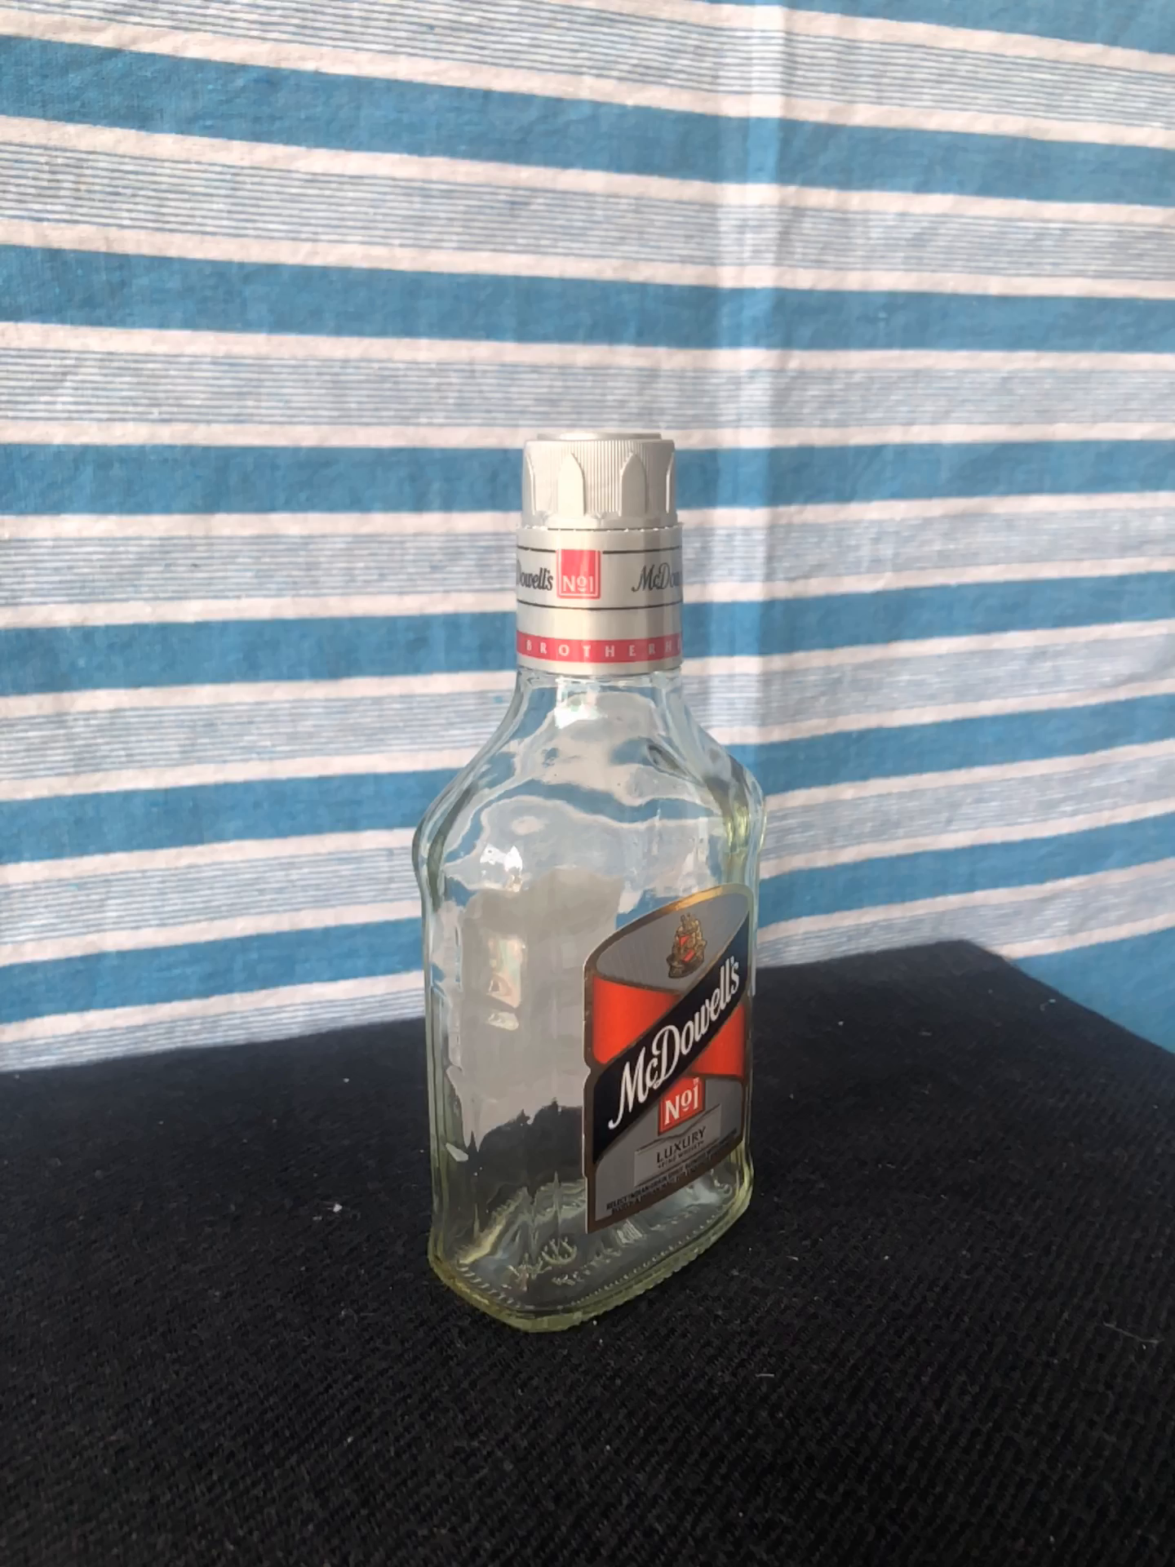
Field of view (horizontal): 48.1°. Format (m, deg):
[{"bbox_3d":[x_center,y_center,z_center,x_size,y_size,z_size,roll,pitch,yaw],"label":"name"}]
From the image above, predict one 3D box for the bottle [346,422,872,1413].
[{"bbox_3d":[0.002,0.016,0.230,0.050,0.150,0.070,16,20,41],"label":"bottle"}]
